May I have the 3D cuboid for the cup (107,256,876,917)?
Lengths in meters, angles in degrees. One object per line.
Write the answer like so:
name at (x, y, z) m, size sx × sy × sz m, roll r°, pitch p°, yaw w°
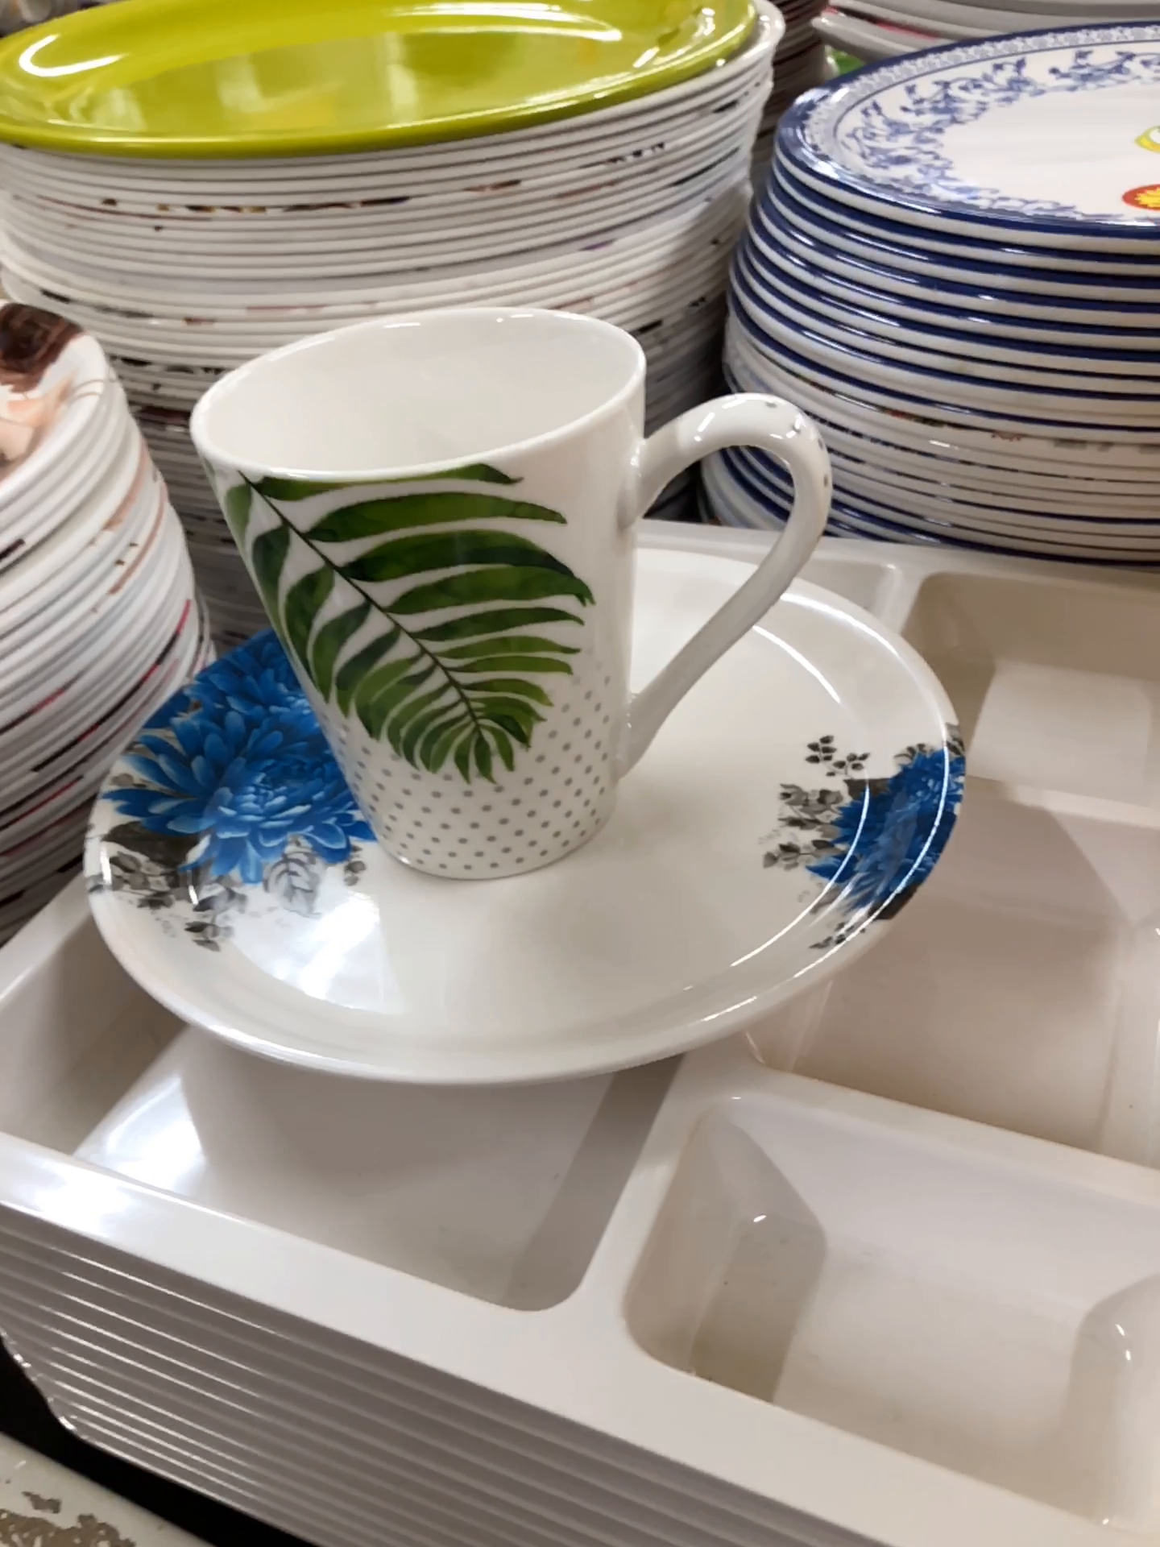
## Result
cup at (-0.013, -0.039, 0.259) m, size 0.120 × 0.089 × 0.081 m, roll -7°, pitch 38°, yaw -1°
